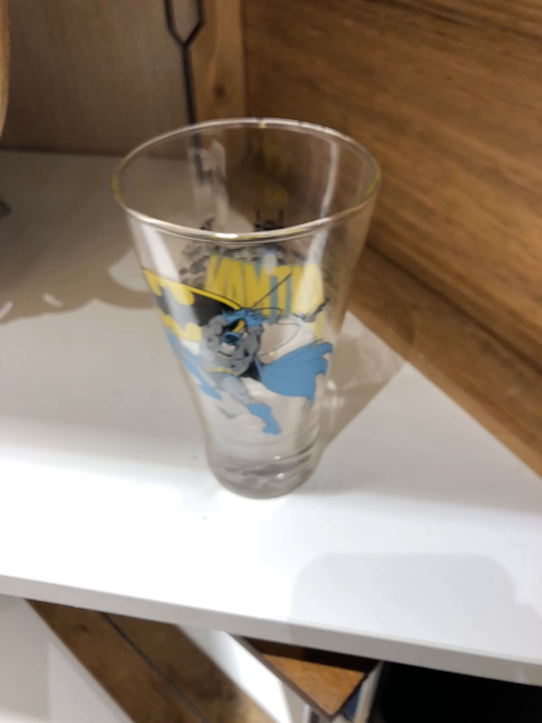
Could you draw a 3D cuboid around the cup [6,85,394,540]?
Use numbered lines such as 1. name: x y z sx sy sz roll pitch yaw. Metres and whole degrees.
1. cup: -0.014 -0.017 0.226 0.090 0.129 0.081 12 43 16
